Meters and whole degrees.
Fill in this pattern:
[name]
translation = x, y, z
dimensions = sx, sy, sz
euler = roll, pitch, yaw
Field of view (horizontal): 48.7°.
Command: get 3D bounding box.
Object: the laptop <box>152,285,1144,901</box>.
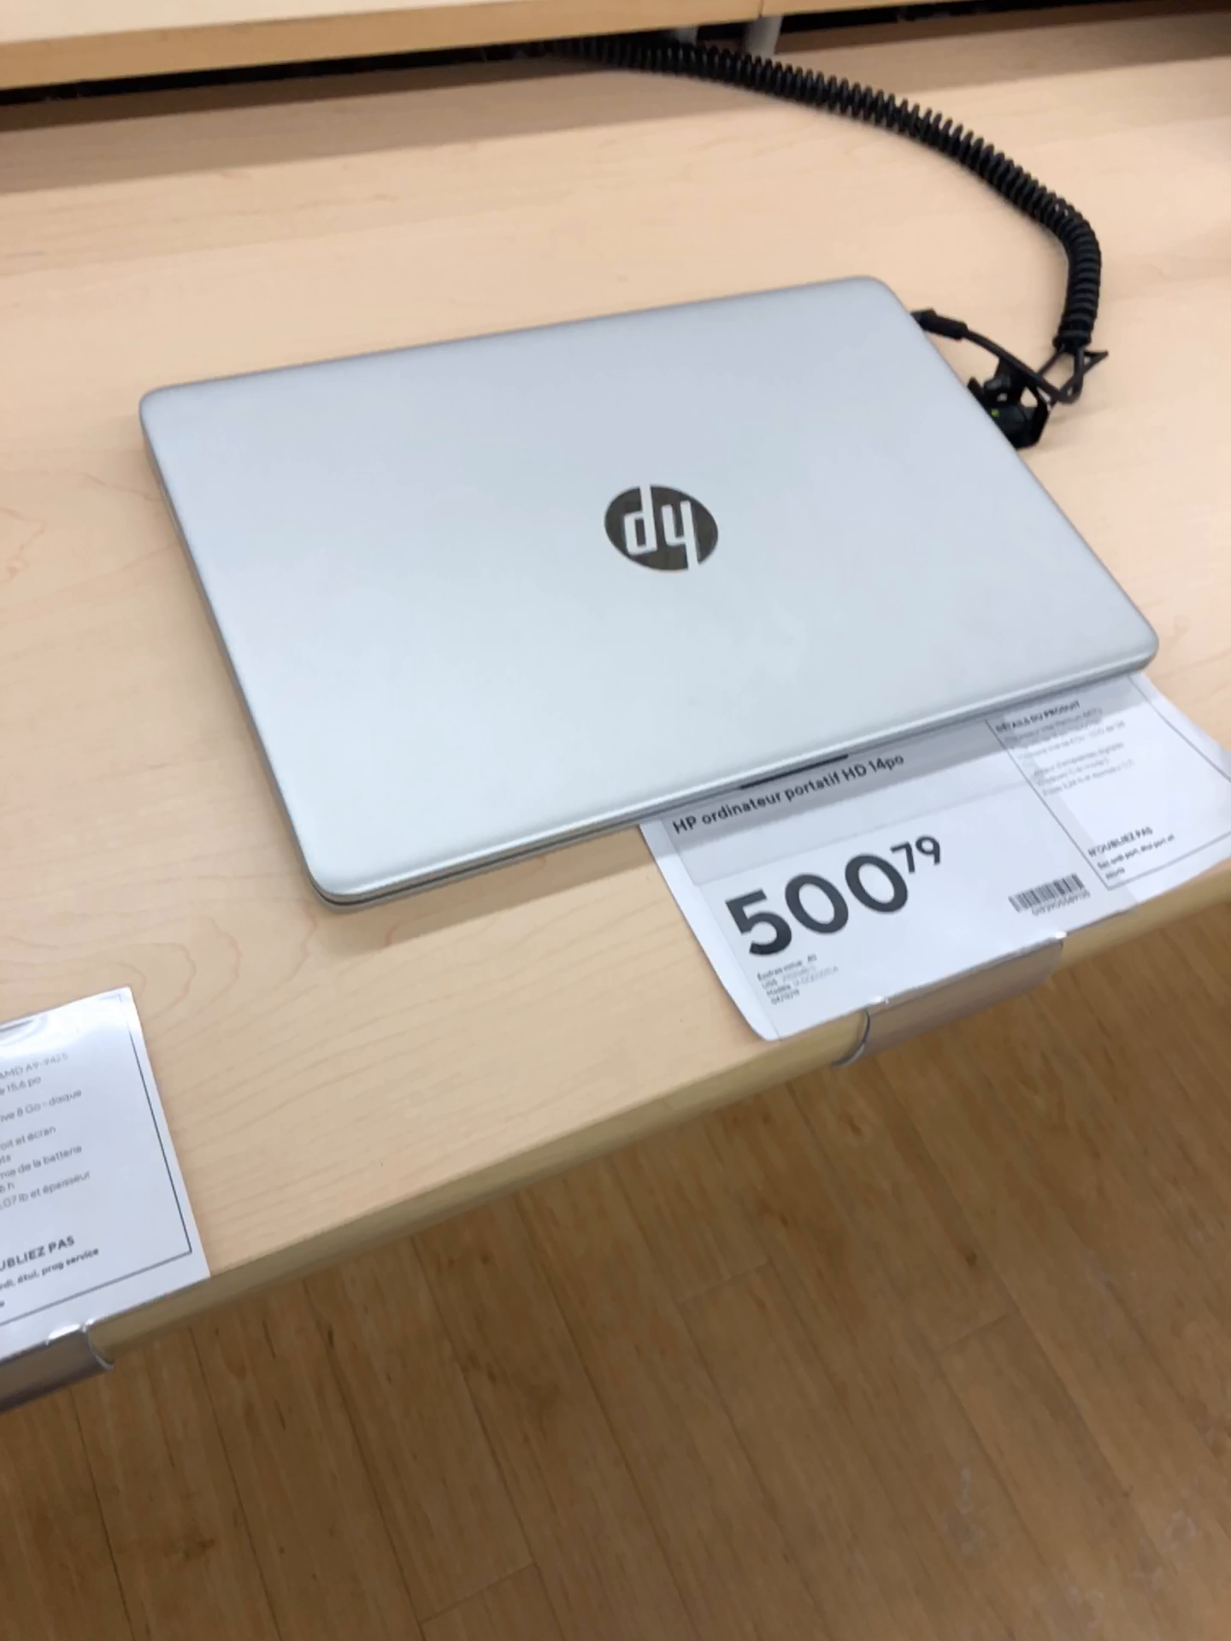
[laptop]
translation = 0.017, -0.105, 0.489
dimensions = 0.310, 0.004, 0.205
euler = -17, 63, -22
